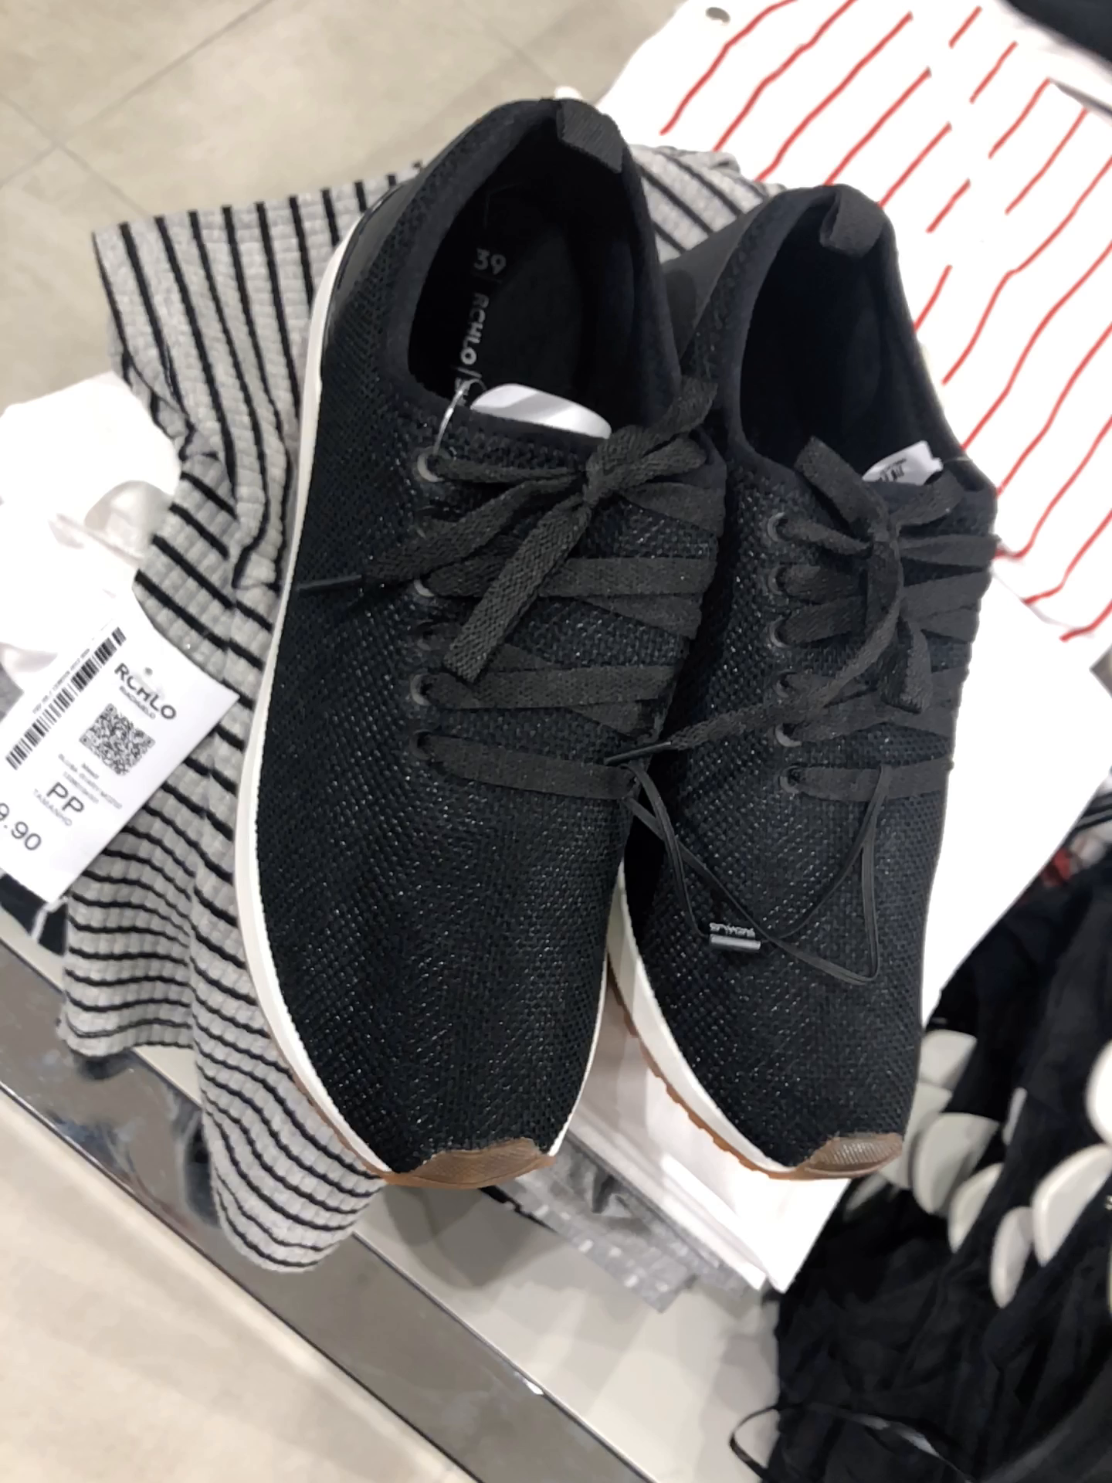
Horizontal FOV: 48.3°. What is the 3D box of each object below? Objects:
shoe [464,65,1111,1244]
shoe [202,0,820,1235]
[{"bbox_3d":[0.055,-0.019,0.331,0.100,0.120,0.270,-1,70,-21],"label":"shoe"},{"bbox_3d":[-0.018,-0.030,0.298,0.100,0.120,0.260,6,74,-19],"label":"shoe"}]
